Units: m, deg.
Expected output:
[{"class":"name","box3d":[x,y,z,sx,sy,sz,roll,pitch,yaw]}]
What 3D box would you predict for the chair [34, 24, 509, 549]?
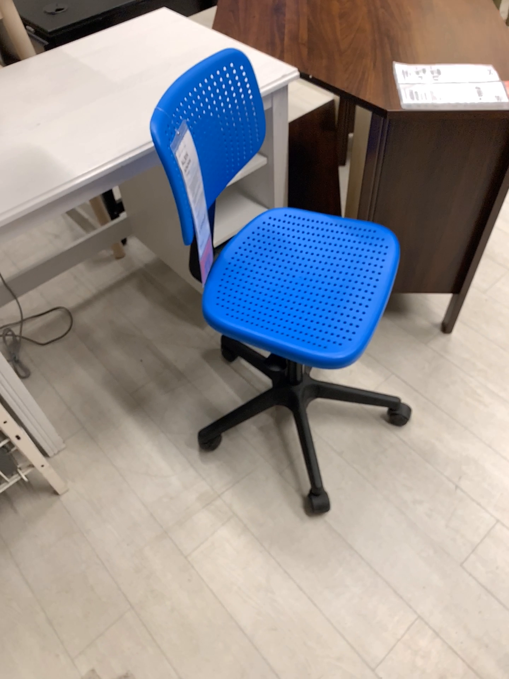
[{"class":"chair","box3d":[0.105,-0.083,1.183,0.620,0.856,0.612,19,55,17]}]
